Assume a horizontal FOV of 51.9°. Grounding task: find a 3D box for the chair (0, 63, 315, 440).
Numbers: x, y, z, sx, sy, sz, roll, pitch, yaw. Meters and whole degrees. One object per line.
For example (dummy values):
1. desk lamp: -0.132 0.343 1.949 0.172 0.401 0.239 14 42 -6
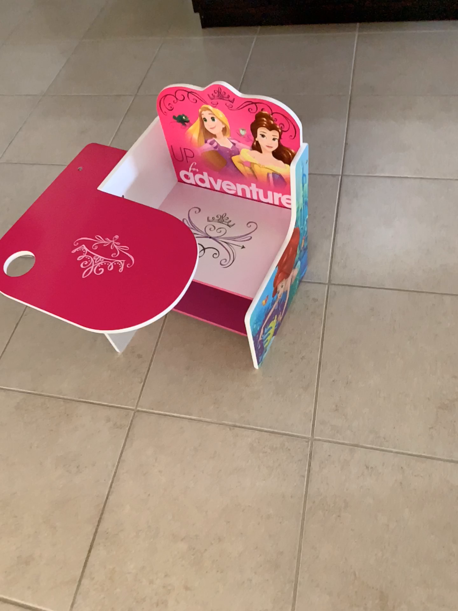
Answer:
1. chair: -0.143 -0.124 1.114 0.532 0.567 0.552 16 60 19
